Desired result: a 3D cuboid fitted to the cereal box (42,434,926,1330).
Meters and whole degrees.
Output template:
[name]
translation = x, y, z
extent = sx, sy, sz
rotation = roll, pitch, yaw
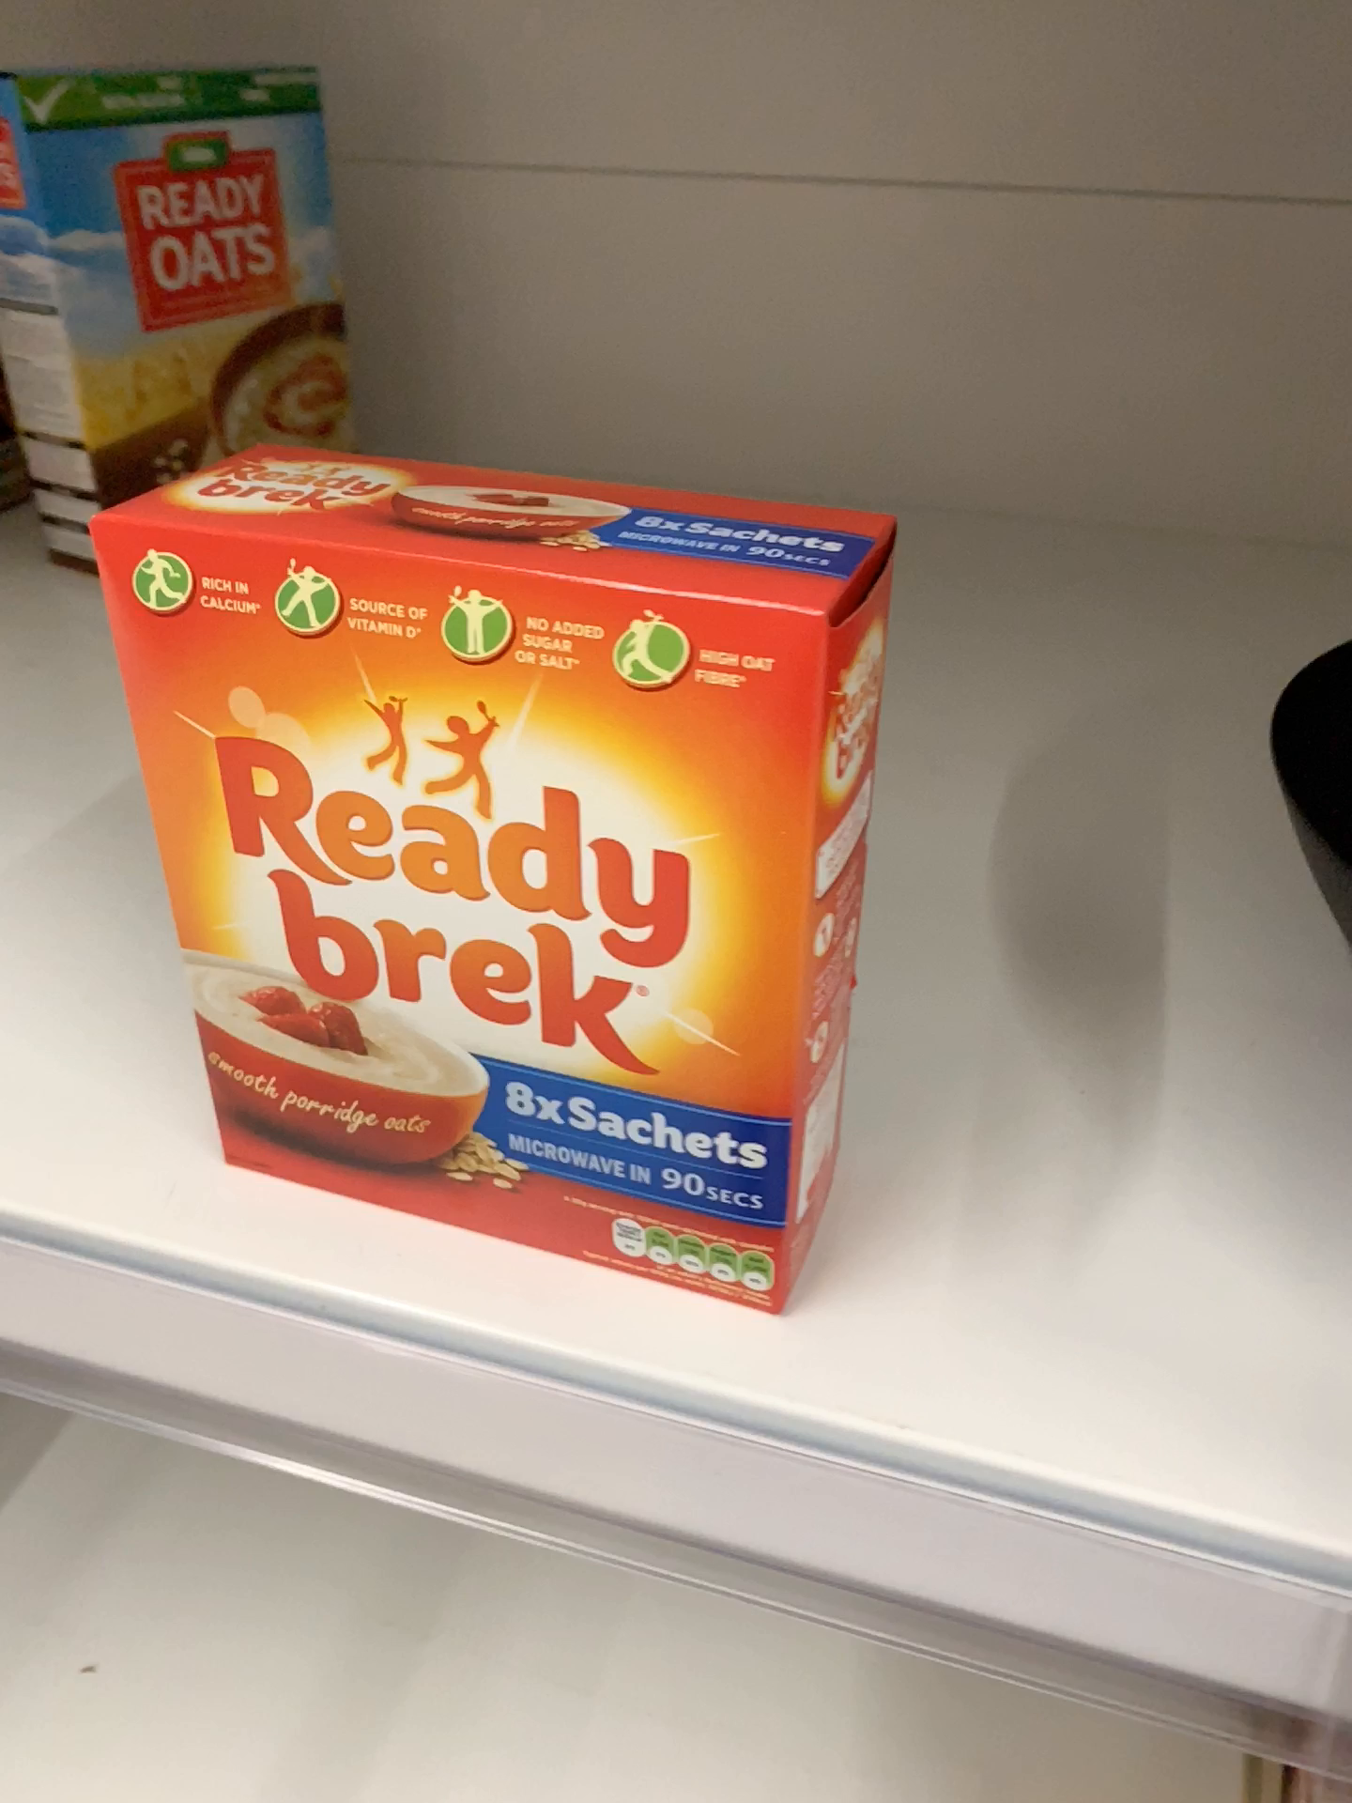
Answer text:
[cereal box]
translation = -0.042, -0.006, 0.357
extent = 0.180, 0.188, 0.071
rotation = 11, 34, 16
